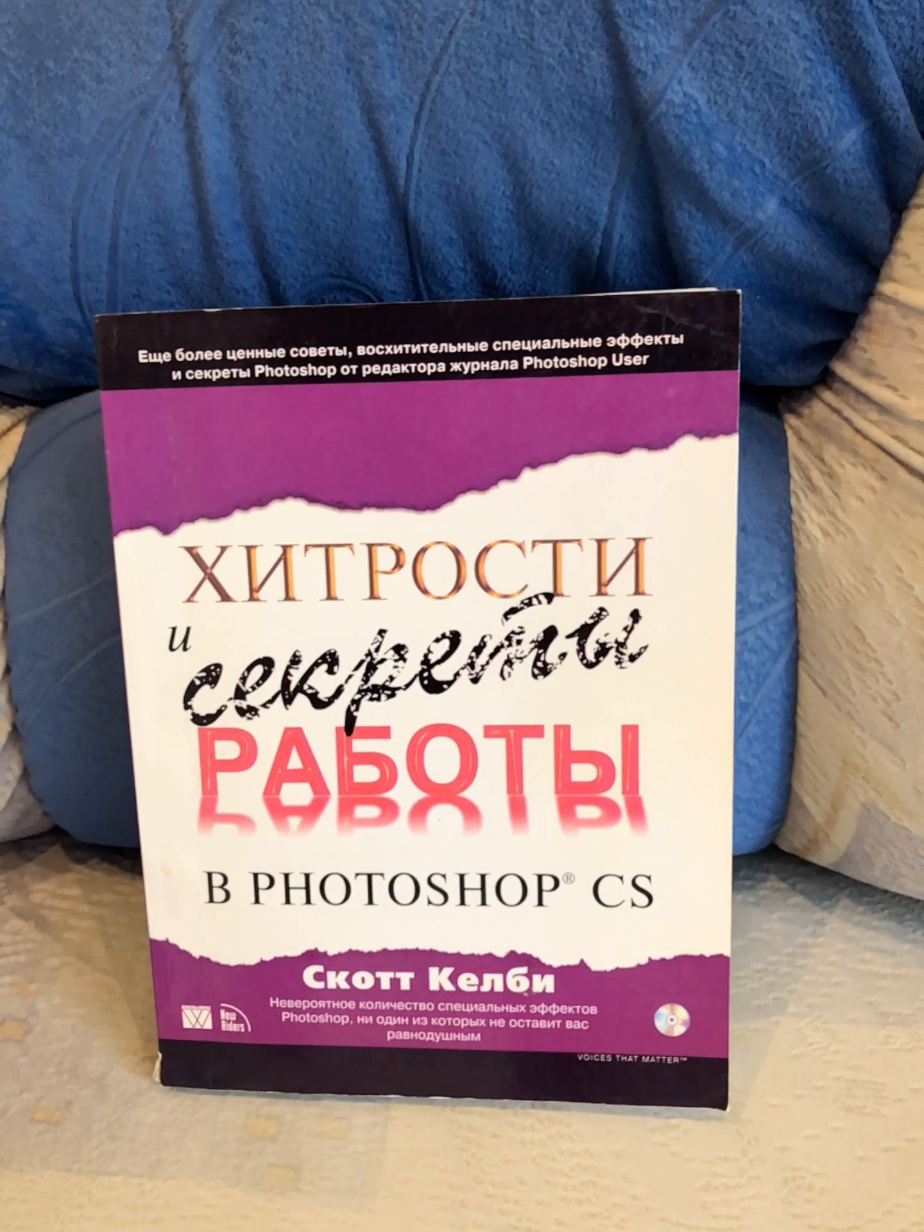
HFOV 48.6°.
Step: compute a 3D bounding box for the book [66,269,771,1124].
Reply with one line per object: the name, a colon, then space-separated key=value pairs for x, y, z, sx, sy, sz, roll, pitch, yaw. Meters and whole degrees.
book: x=-0.010 y=0.034 z=0.340 sx=0.209 sy=0.271 sz=0.030 roll=-1 pitch=11 yaw=6
